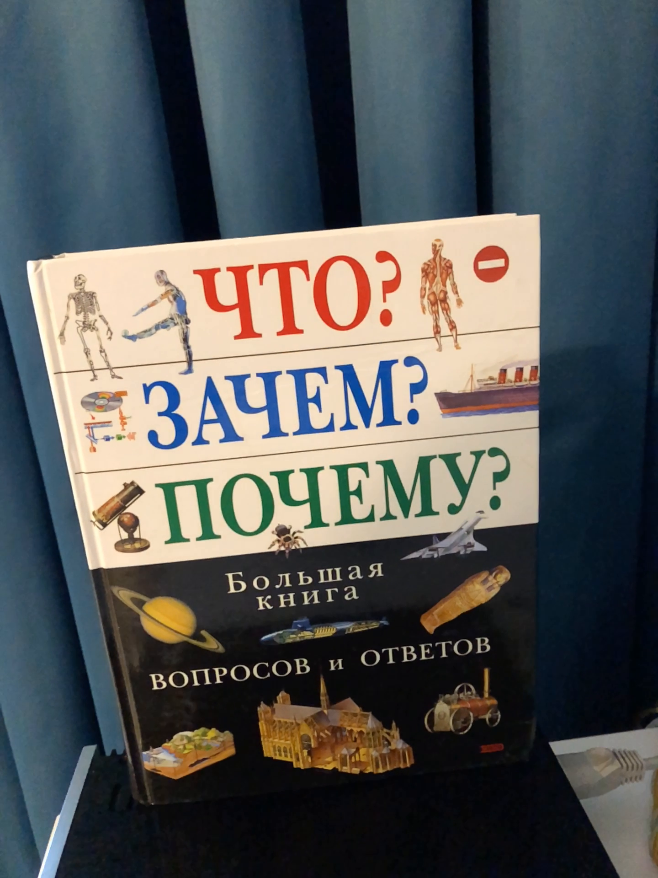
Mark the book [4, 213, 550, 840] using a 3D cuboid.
[{"bbox_3d":[-0.008,0.054,0.366,0.224,0.301,0.042,-6,19,-2],"label":"book"}]
